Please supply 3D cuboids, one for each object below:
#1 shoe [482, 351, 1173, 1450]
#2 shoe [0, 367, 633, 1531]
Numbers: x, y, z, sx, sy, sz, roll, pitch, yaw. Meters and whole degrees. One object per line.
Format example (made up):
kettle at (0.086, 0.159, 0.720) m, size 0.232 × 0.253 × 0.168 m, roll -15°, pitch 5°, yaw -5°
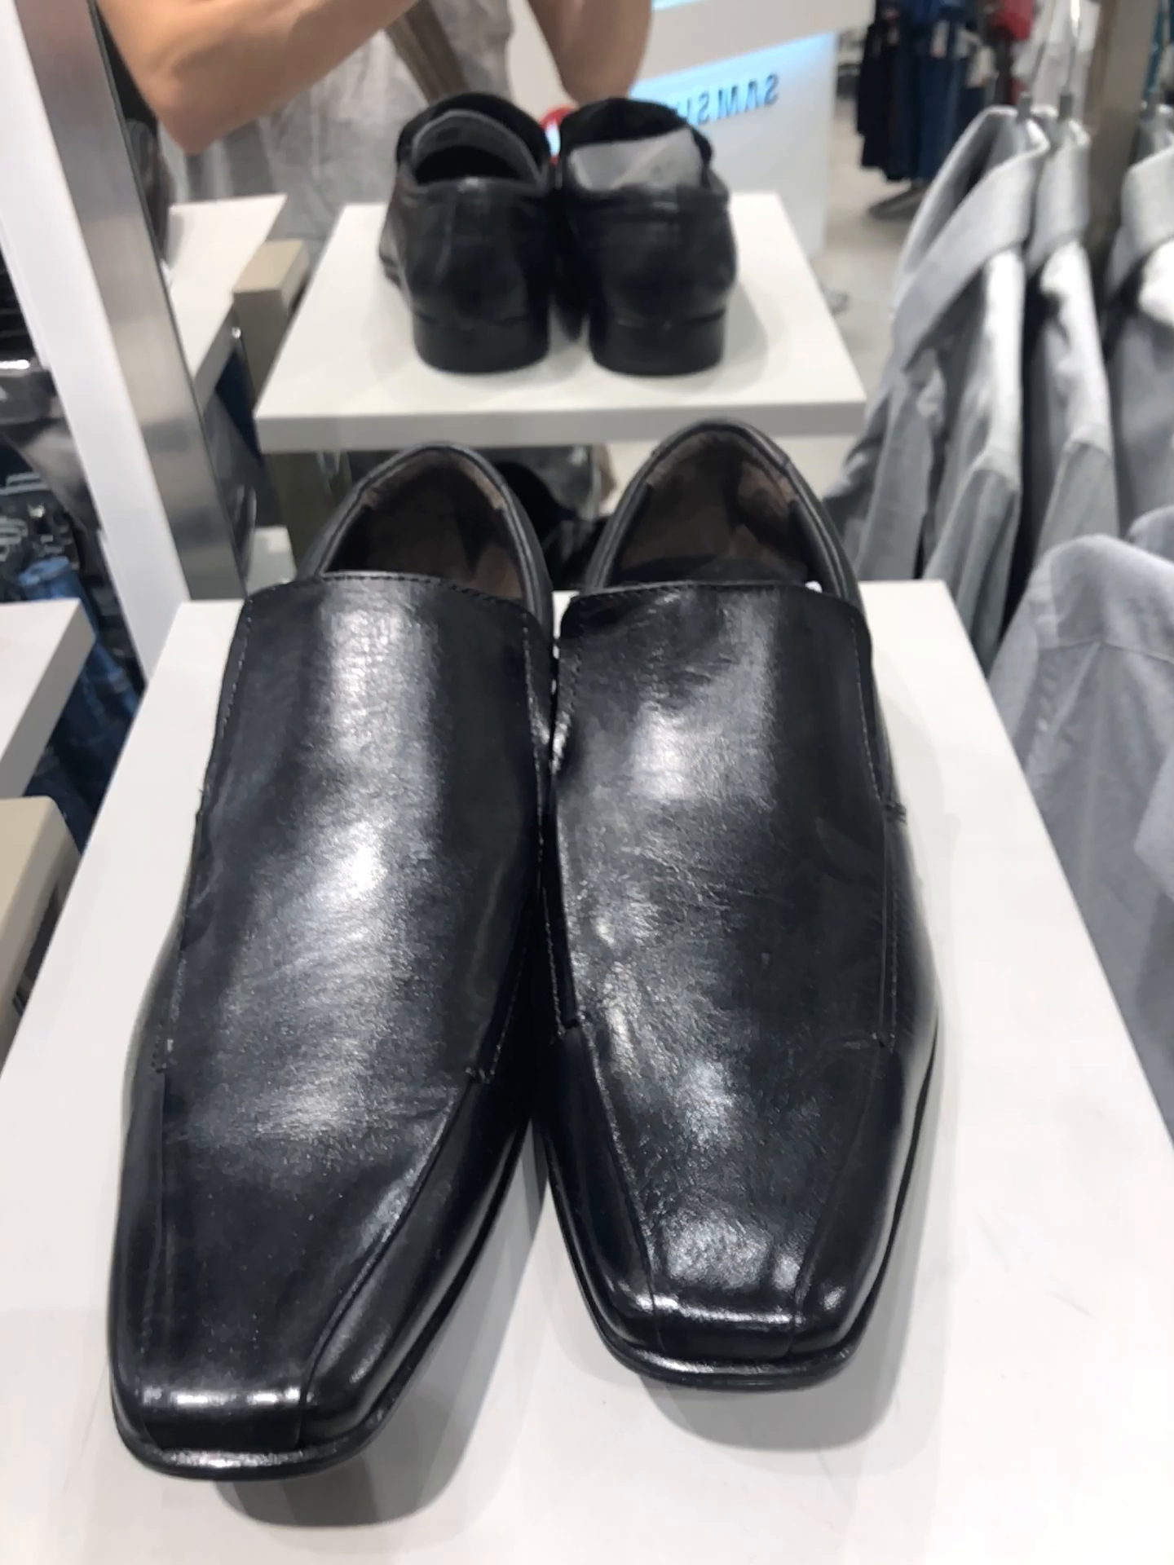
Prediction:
shoe at (0.046, -0.001, 0.328) m, size 0.110 × 0.099 × 0.282 m, roll -1°, pitch 41°, yaw 3°
shoe at (-0.045, 0.007, 0.333) m, size 0.110 × 0.099 × 0.302 m, roll -1°, pitch 41°, yaw 3°
